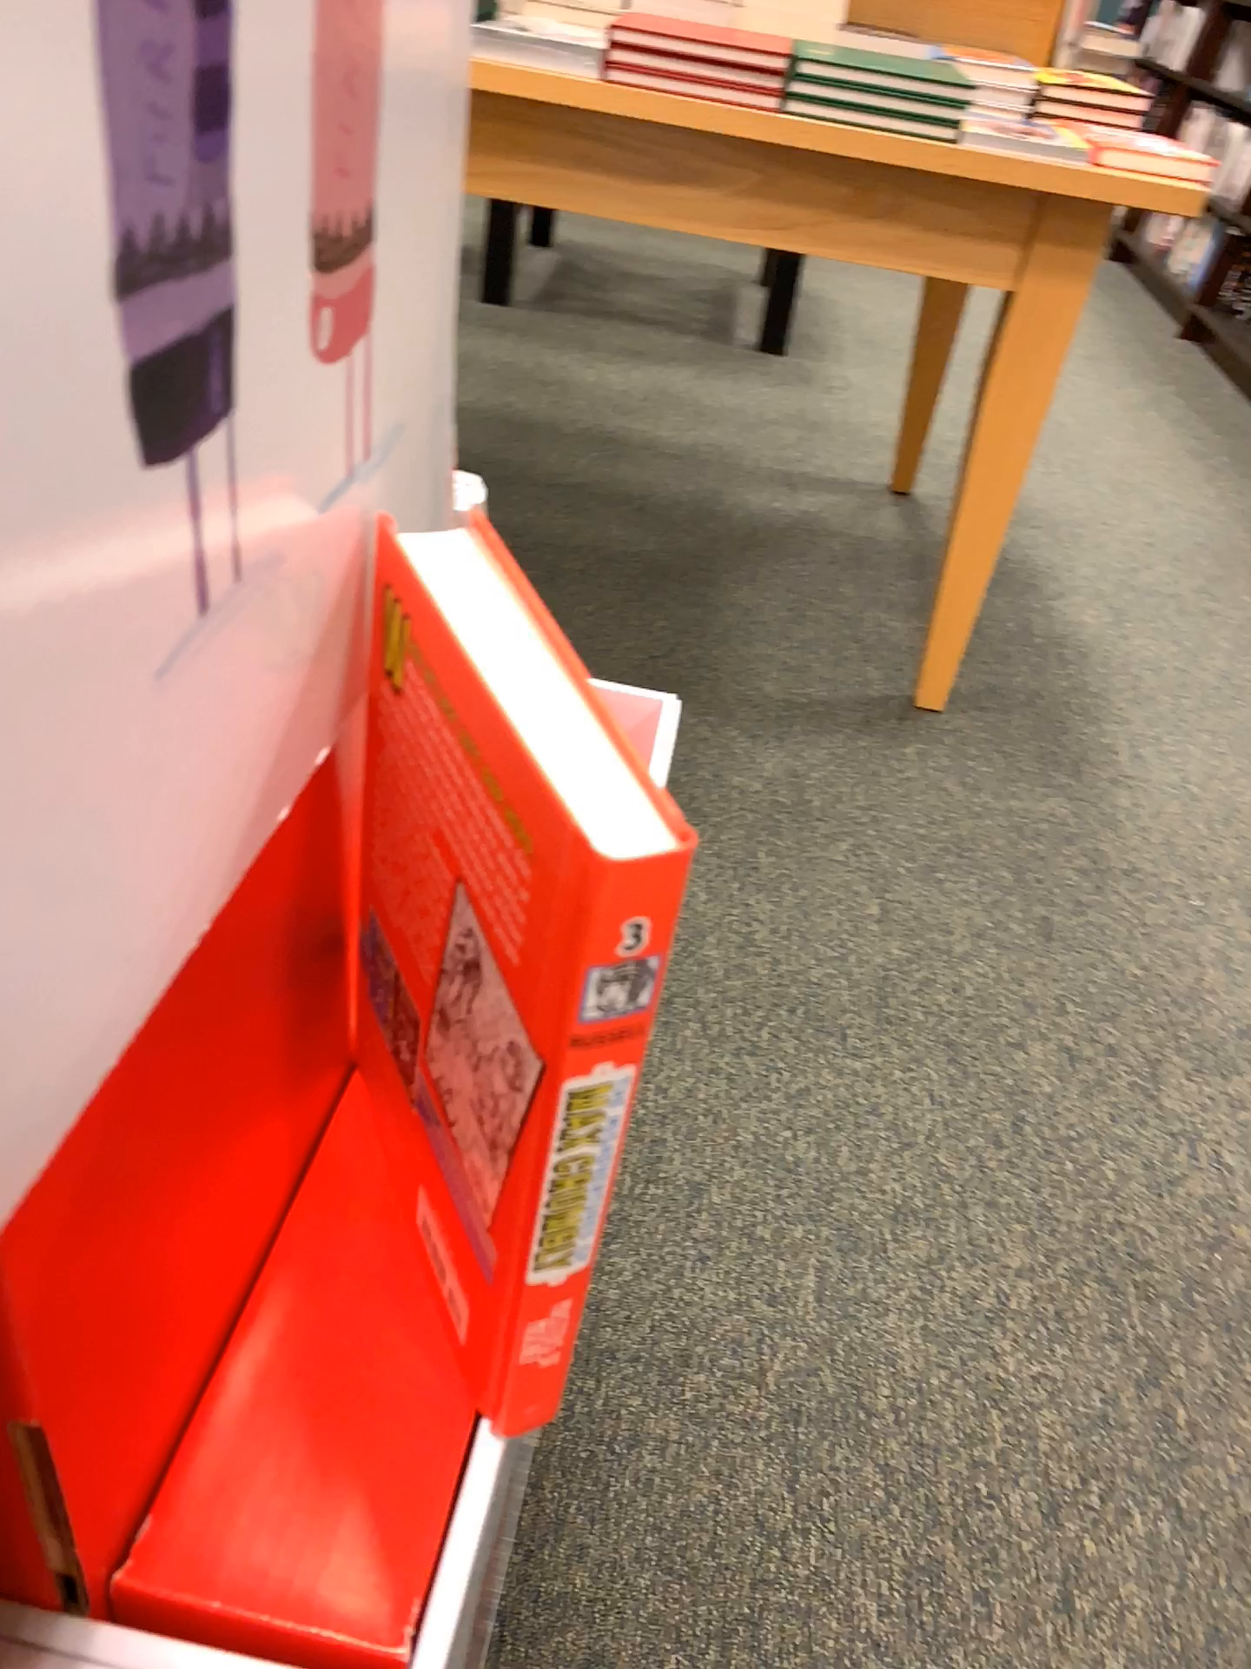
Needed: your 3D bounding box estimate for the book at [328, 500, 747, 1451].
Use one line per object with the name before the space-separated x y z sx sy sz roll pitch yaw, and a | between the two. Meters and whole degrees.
book | -0.039 0.038 0.334 0.031 0.201 0.142 -8 40 -27
